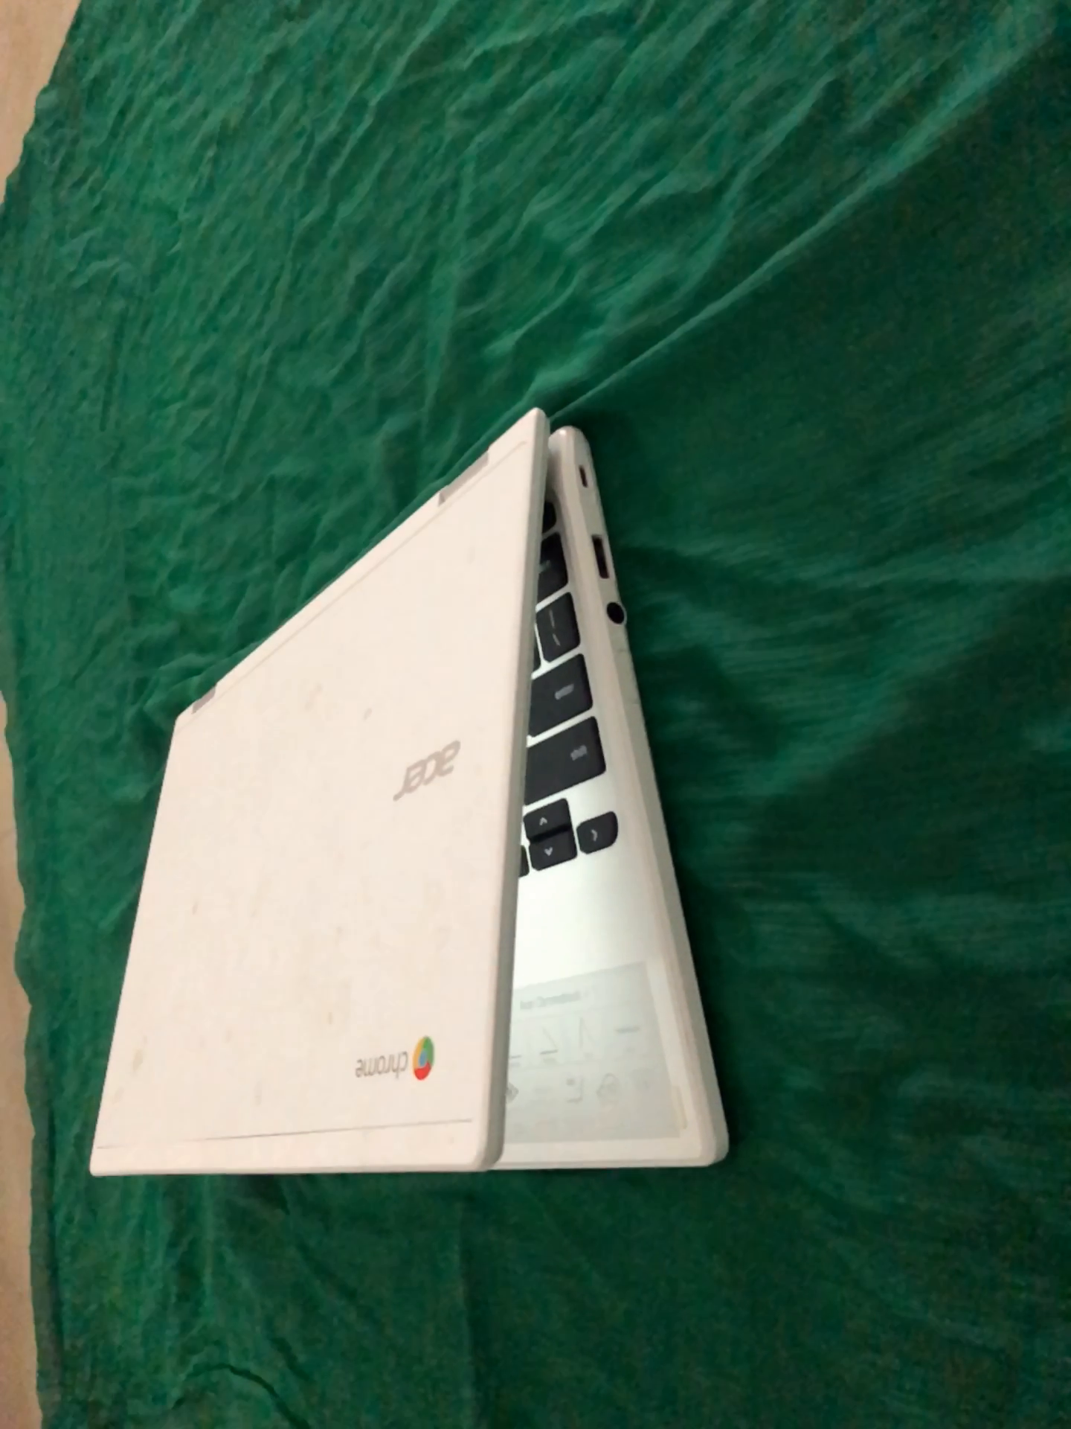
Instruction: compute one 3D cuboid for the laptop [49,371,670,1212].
[{"bbox_3d":[-0.088,0.052,0.392,0.282,0.065,0.193,-28,67,51],"label":"laptop"}]
